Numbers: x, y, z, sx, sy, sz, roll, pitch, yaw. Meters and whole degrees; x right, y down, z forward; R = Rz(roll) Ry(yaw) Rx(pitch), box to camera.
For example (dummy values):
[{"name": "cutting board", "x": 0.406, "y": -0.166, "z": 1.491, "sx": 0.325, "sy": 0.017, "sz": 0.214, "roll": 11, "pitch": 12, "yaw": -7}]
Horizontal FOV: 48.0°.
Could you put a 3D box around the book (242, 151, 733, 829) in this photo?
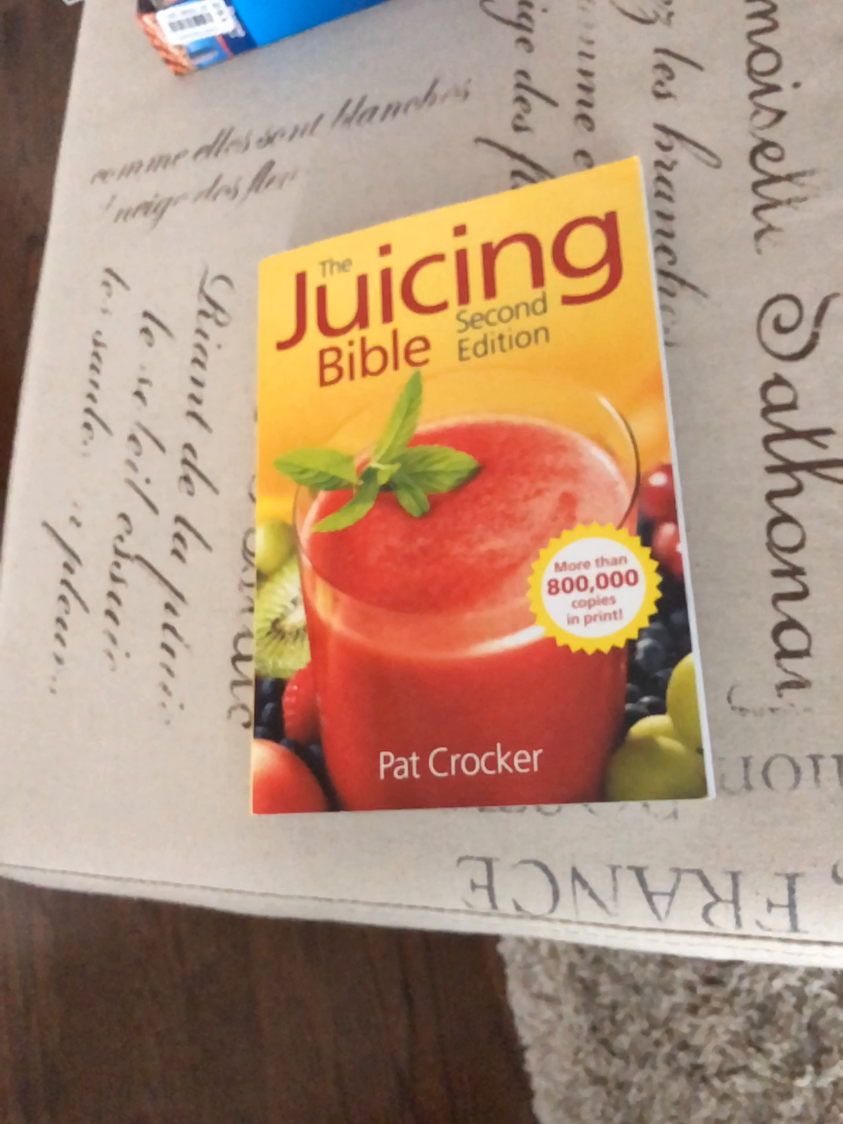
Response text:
[{"name": "book", "x": 0.015, "y": -0.025, "z": 0.382, "sx": 0.180, "sy": 0.030, "sz": 0.250, "roll": -8, "pitch": 73, "yaw": 21}]
